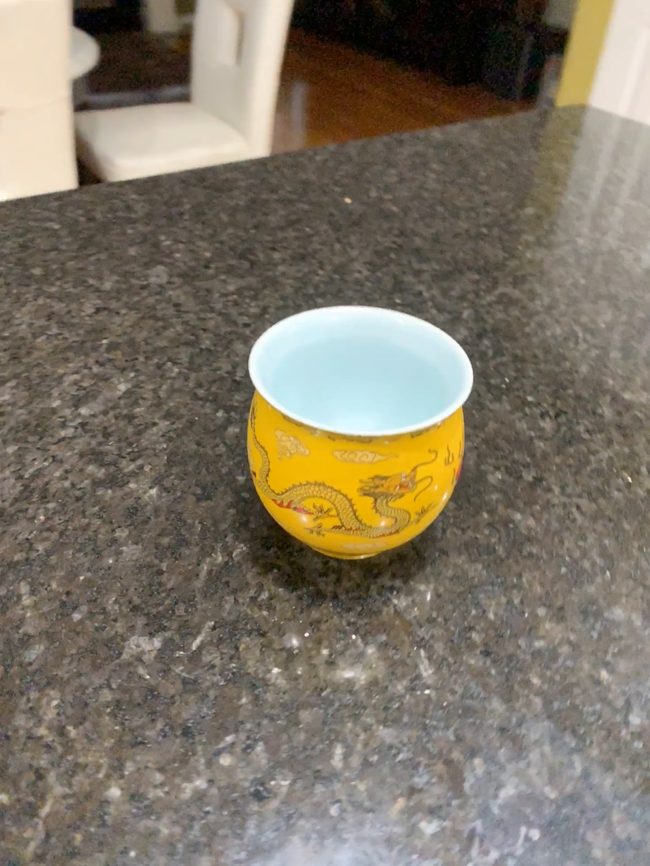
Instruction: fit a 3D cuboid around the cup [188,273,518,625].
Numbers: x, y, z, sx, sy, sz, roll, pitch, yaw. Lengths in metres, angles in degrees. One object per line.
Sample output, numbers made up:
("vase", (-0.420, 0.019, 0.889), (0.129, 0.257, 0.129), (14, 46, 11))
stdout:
("cup", (0.011, 0.001, 0.222), (0.075, 0.066, 0.073), (1, 40, -1))
